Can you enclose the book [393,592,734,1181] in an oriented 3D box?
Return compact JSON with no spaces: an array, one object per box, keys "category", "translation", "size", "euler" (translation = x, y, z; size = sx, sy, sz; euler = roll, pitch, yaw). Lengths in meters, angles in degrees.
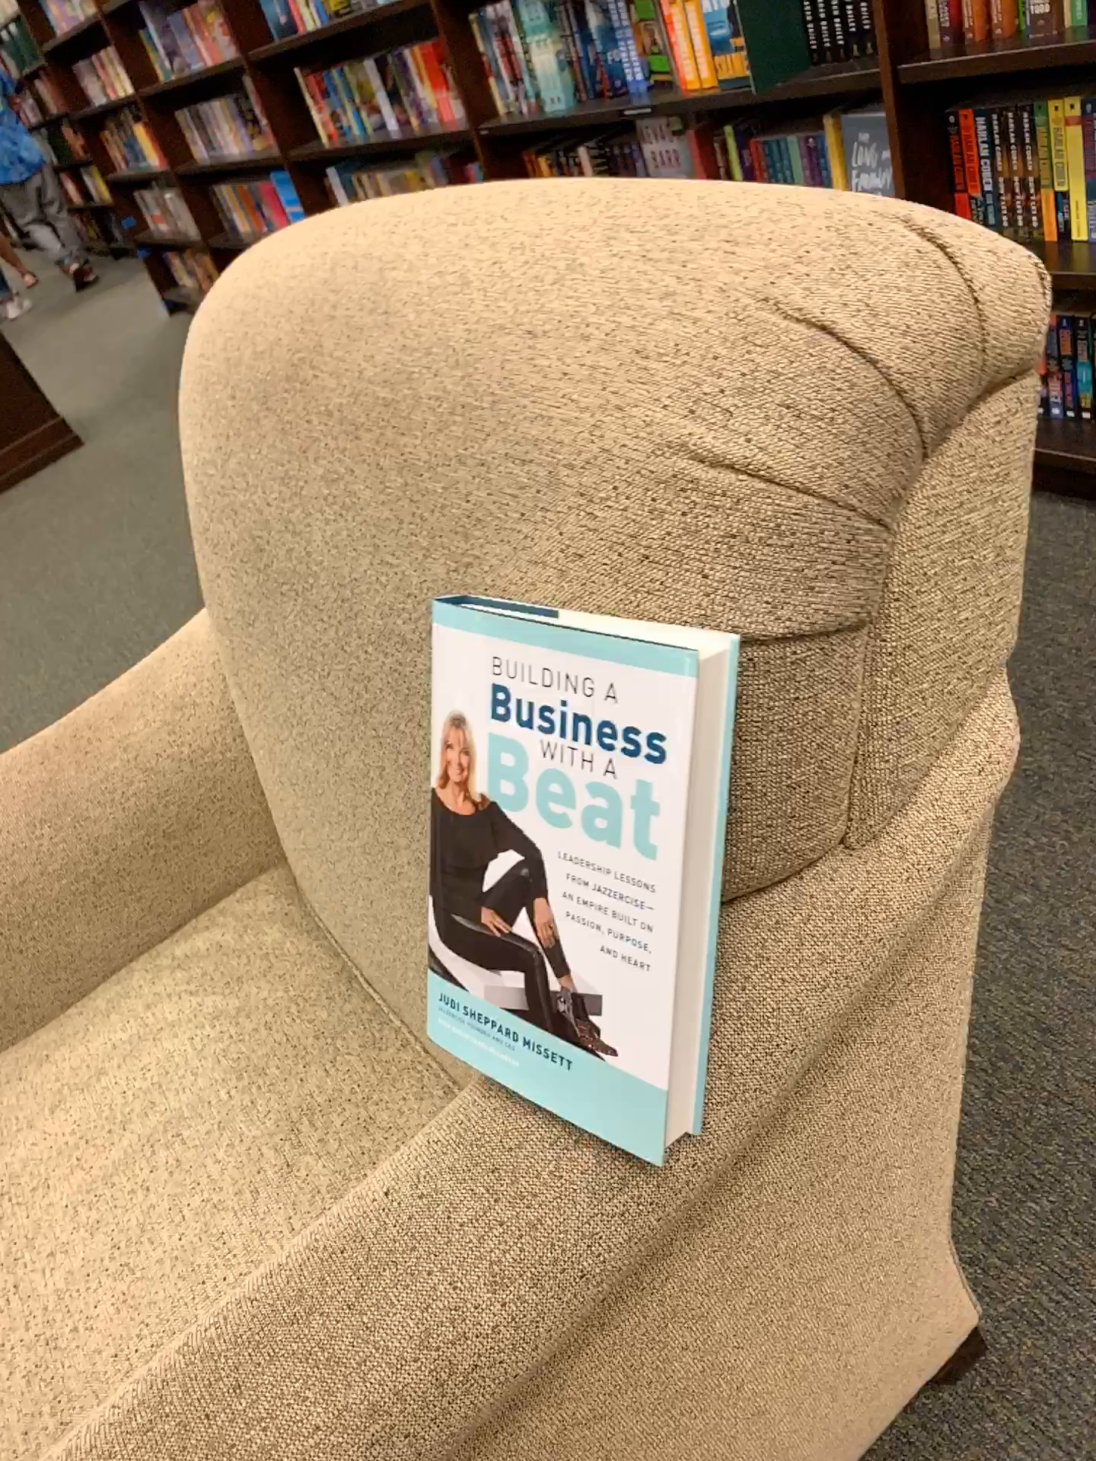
[{"category":"book","translation":[-0.001,0.060,0.521],"size":[0.040,0.229,0.171],"euler":[-13,19,-43]}]
